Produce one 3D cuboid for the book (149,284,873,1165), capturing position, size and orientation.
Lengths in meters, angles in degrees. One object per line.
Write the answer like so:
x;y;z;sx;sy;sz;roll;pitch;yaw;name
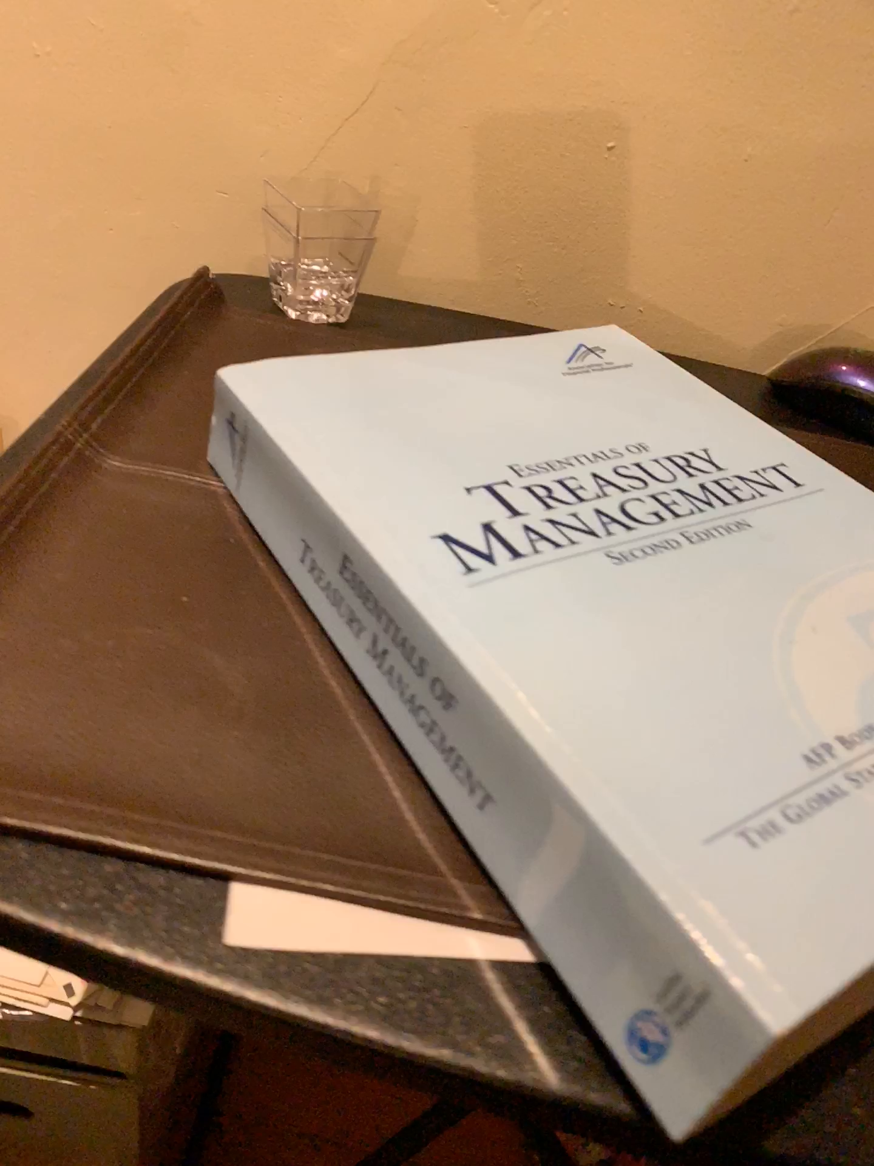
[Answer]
0.058;-0.011;0.312;0.220;0.060;0.301;-14;45;-30;book
